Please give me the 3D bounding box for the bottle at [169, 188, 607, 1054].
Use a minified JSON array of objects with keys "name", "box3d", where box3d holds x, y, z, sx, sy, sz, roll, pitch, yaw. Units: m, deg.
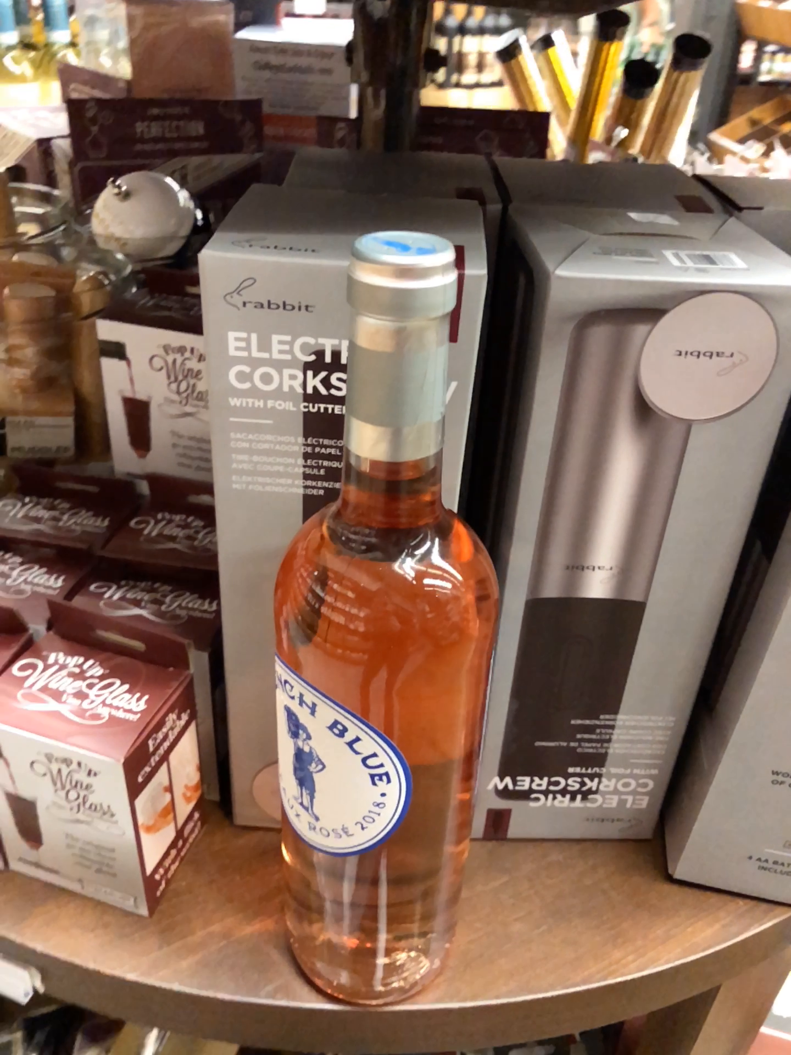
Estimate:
[{"name":"bottle","box3d":[-0.004,0.048,0.299,0.078,0.289,0.080,1,33,-1]}]
